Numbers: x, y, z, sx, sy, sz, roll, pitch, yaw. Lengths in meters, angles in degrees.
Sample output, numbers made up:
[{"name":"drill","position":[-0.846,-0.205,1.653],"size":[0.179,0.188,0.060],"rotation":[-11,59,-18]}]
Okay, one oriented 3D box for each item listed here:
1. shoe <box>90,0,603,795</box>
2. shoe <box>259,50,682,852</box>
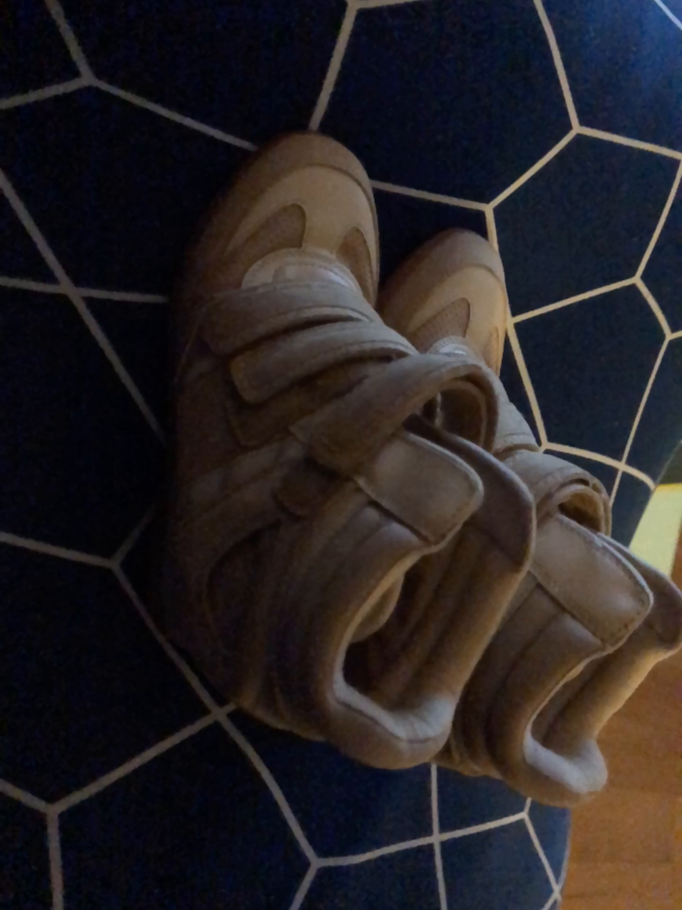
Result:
[{"name":"shoe","position":[0.003,-0.029,0.288],"size":[0.100,0.139,0.260],"rotation":[17,75,-37]},{"name":"shoe","position":[0.068,0.000,0.329],"size":[0.100,0.129,0.280],"rotation":[21,72,-37]}]
